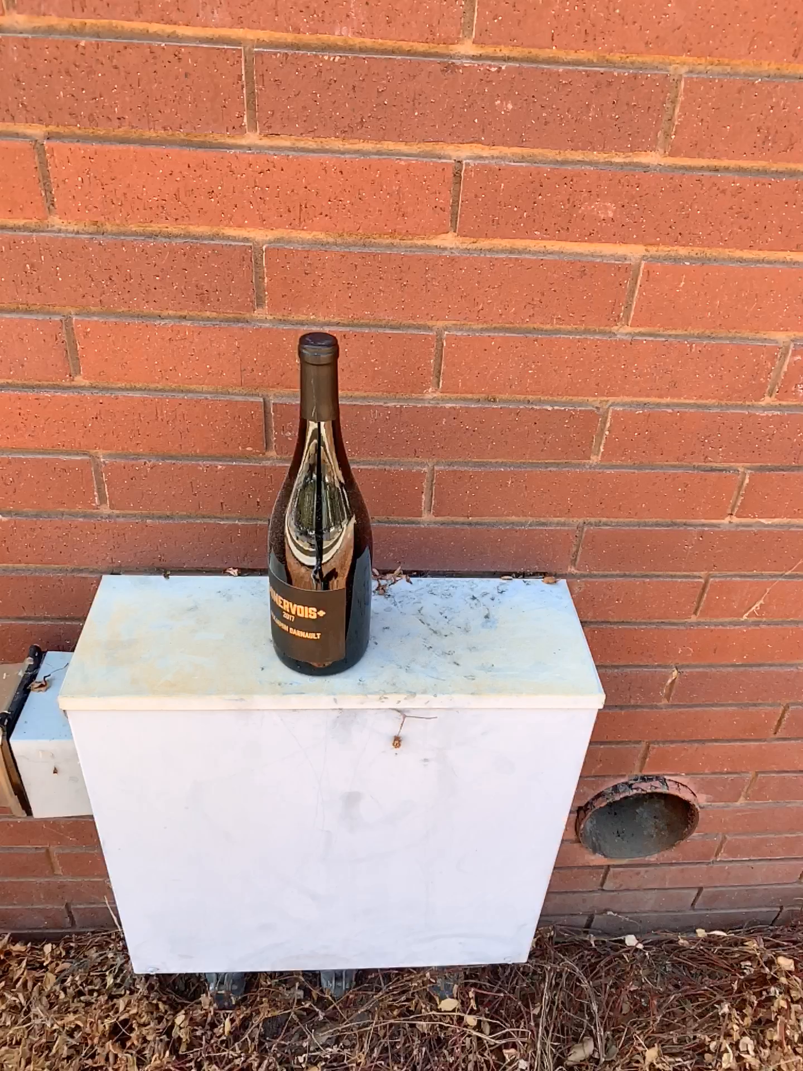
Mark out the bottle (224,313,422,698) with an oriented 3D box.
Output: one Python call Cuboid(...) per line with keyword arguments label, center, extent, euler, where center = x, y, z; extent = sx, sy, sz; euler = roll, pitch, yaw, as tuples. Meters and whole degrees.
Cuboid(label="bottle", center=(-0.060, -0.017, 0.635), extent=(0.100, 0.268, 0.090), euler=(21, 39, 21))
